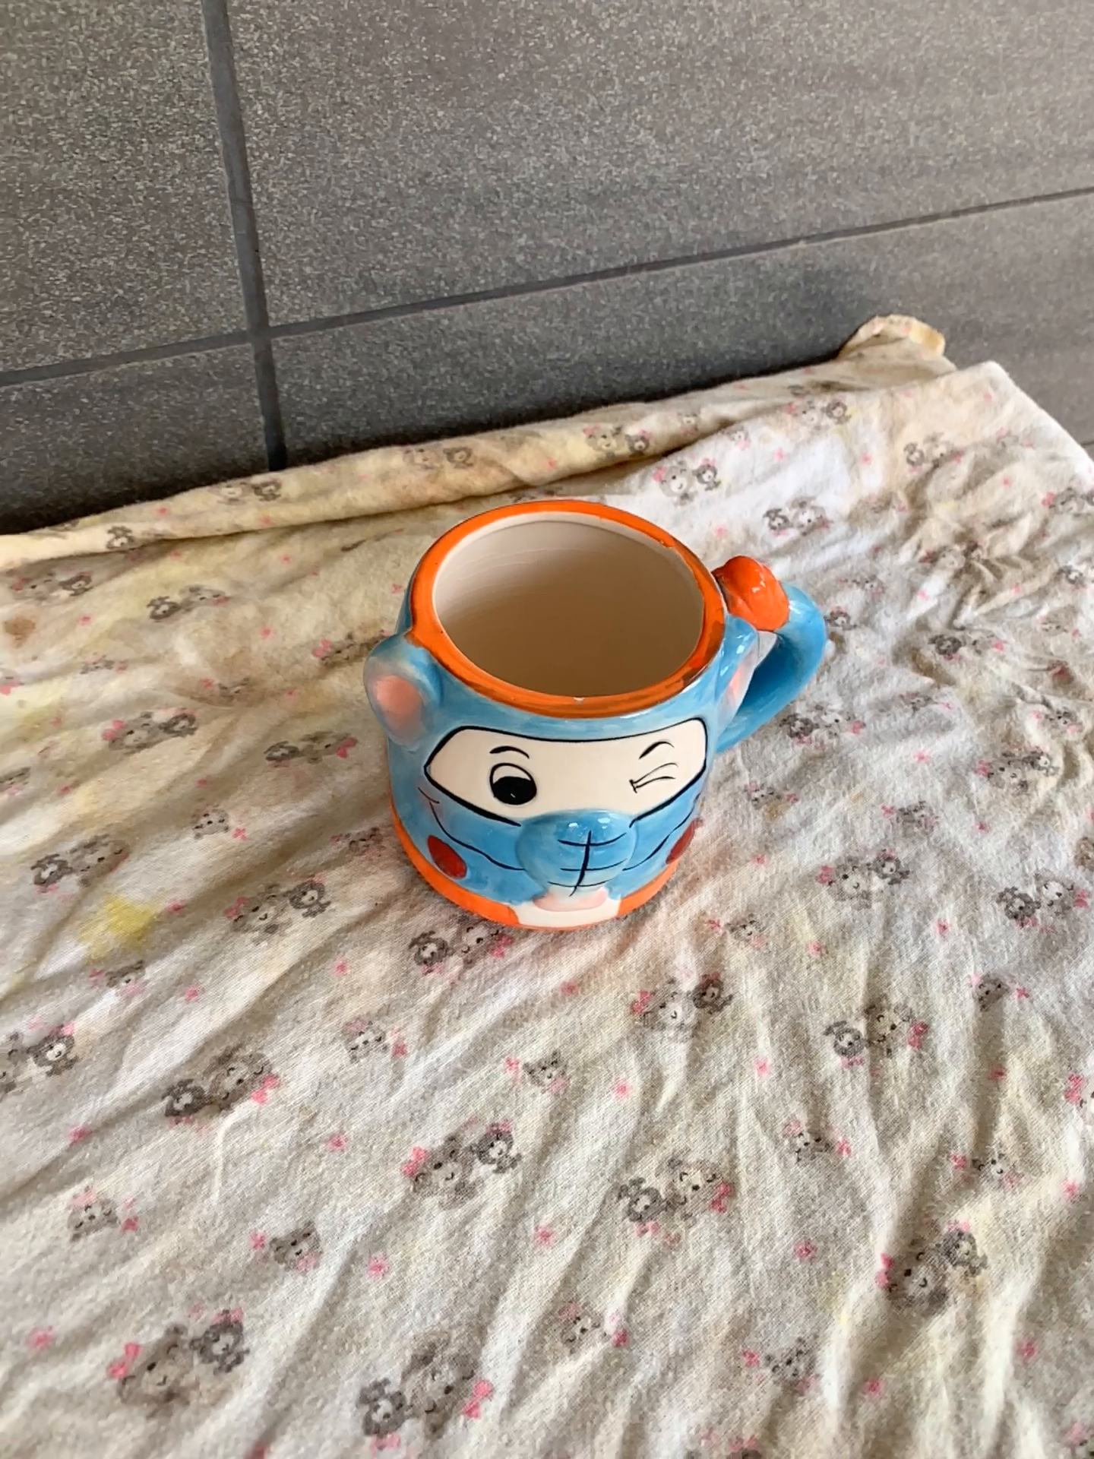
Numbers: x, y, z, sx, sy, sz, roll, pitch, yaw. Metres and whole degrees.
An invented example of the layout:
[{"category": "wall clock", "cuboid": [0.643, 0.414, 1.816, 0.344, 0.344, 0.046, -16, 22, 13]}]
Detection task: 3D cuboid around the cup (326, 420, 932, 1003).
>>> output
[{"category": "cup", "cuboid": [0.012, -0.007, 0.286, 0.110, 0.090, 0.090, -12, 50, -15]}]
